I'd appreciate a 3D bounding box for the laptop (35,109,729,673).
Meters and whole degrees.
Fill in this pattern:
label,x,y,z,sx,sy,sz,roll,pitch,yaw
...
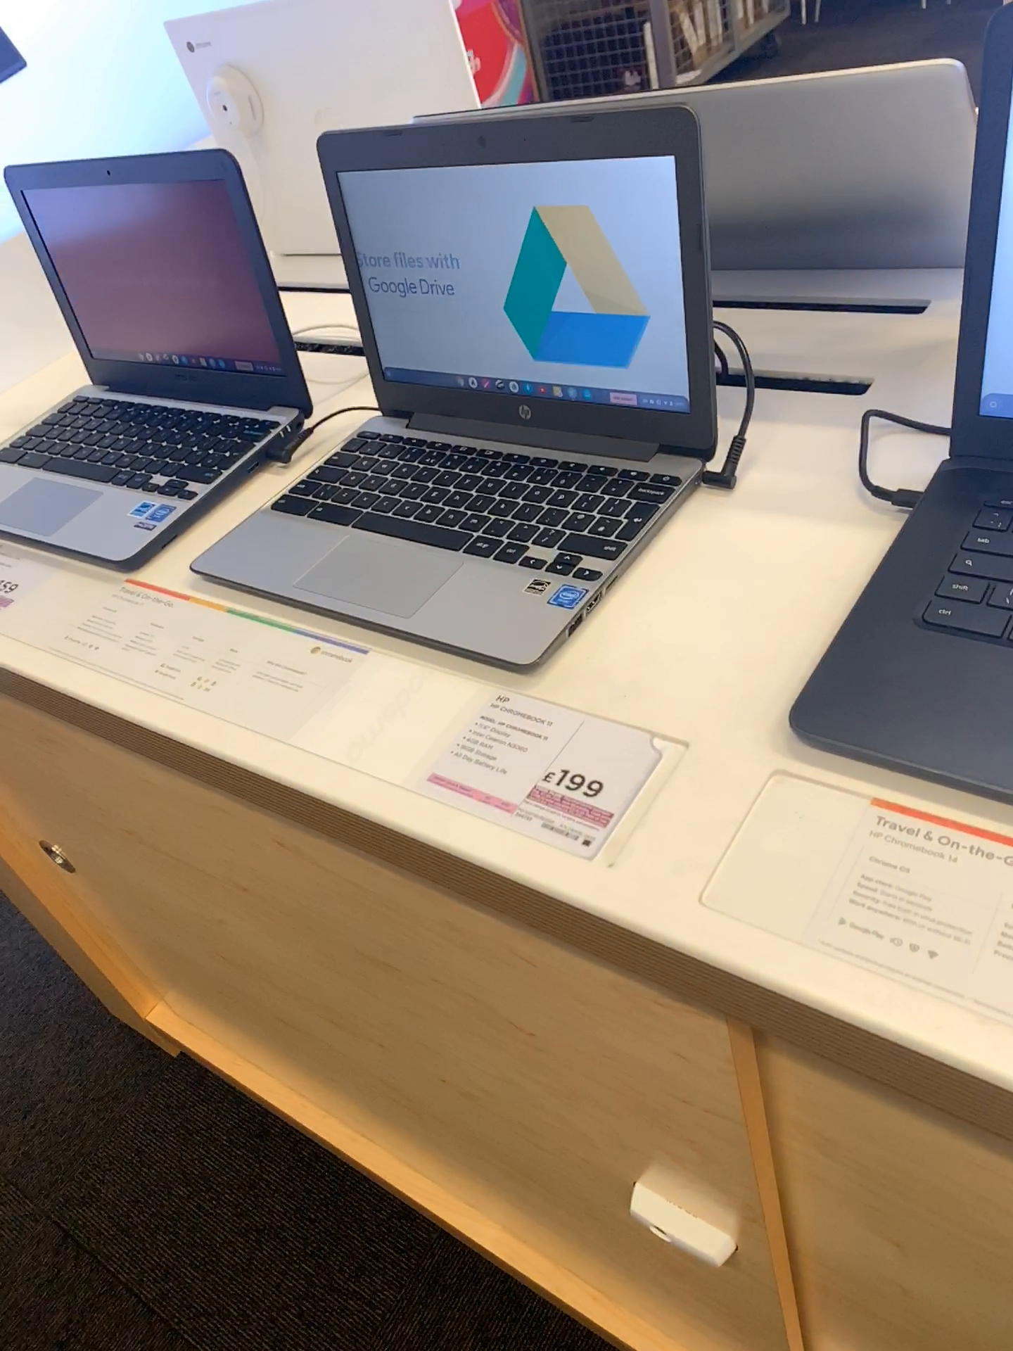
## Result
label,x,y,z,sx,sy,sz,roll,pitch,yaw
laptop,-0.059,-0.176,0.600,0.278,0.185,0.229,16,51,34

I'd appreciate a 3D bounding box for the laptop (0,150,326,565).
label,x,y,z,sx,sy,sz,roll,pitch,yaw
laptop,-0.338,-0.249,0.785,0.287,0.180,0.222,15,51,33
